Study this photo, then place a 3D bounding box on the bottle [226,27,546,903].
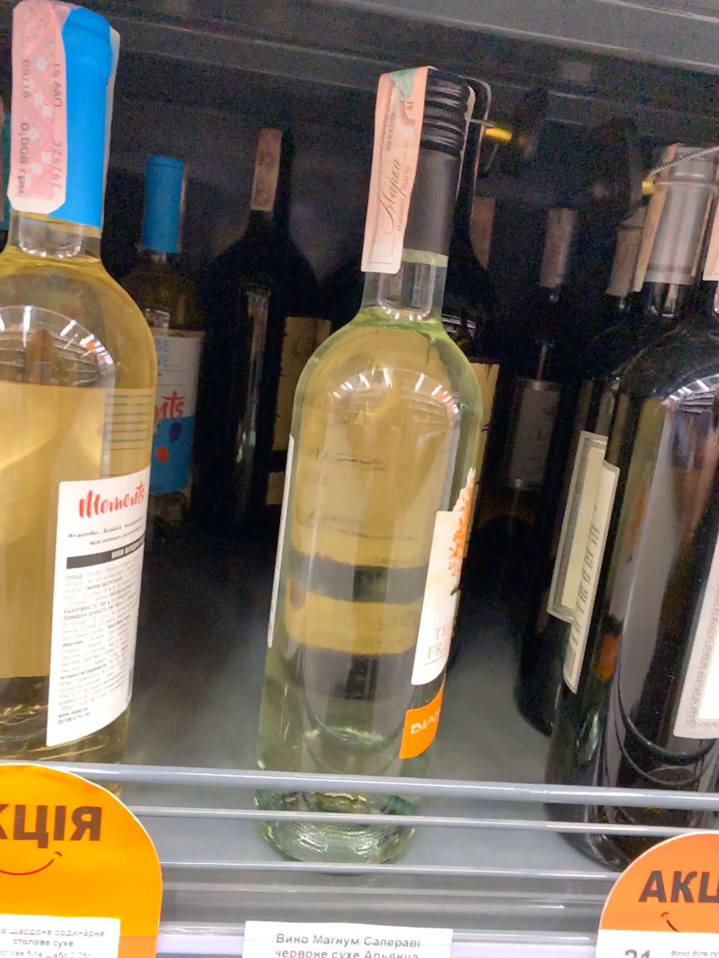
[{"bbox_3d":[0.008,0.004,0.286,0.070,0.294,0.070,7,14,-2],"label":"bottle"}]
